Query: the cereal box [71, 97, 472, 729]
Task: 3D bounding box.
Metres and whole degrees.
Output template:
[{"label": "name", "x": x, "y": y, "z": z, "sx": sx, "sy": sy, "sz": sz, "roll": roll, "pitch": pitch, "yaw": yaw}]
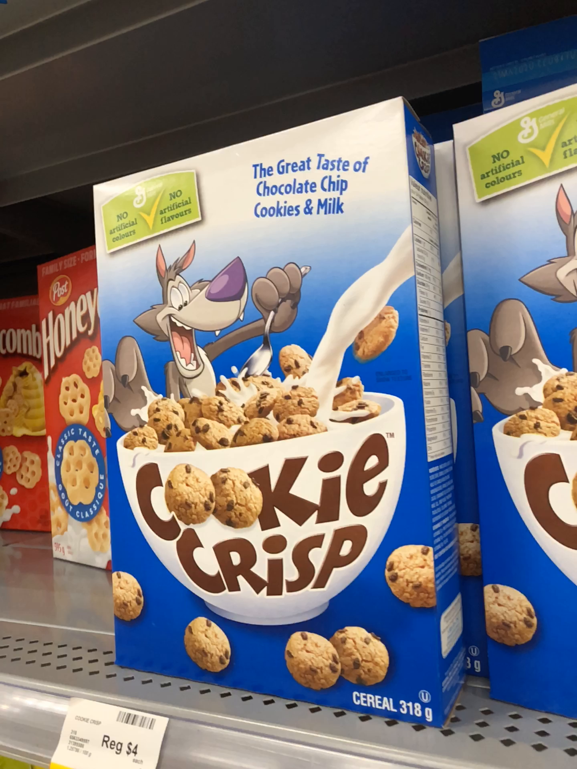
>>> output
[{"label": "cereal box", "x": -0.018, "y": 0.017, "z": 0.347, "sx": 0.200, "sy": 0.280, "sz": 0.050, "roll": -5, "pitch": -2, "yaw": 26}]
